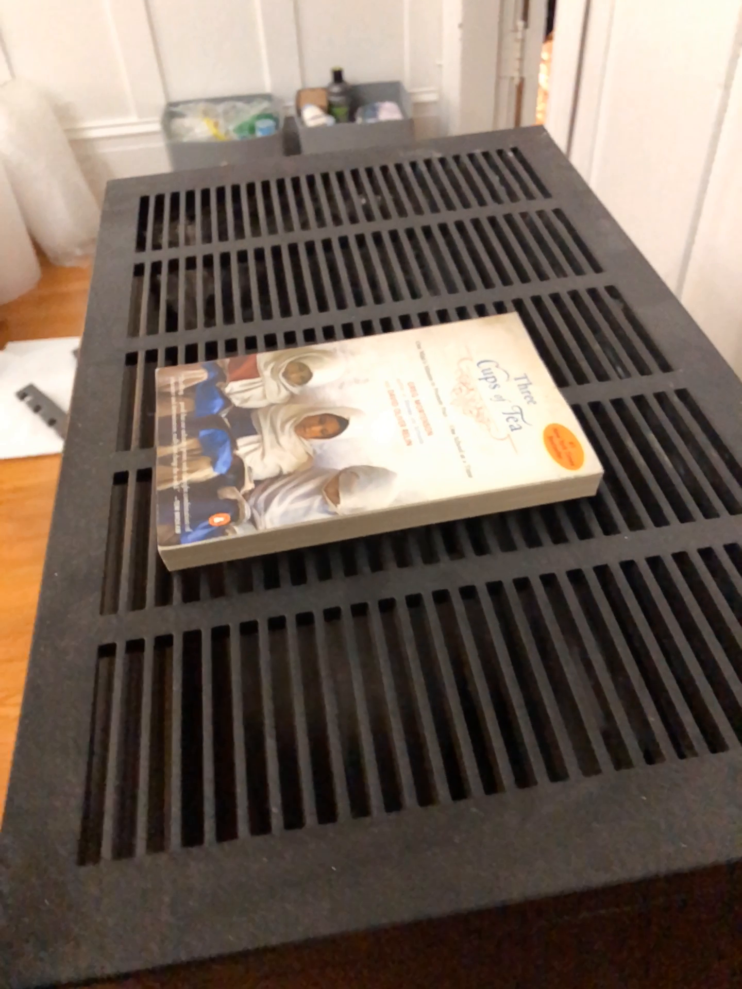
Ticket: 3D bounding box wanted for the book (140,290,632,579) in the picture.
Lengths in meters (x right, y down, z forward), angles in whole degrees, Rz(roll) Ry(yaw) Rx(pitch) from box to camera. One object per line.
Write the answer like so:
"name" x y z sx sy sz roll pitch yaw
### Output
"book" -0.003 -0.040 0.420 0.220 0.030 0.141 -10 45 -6
